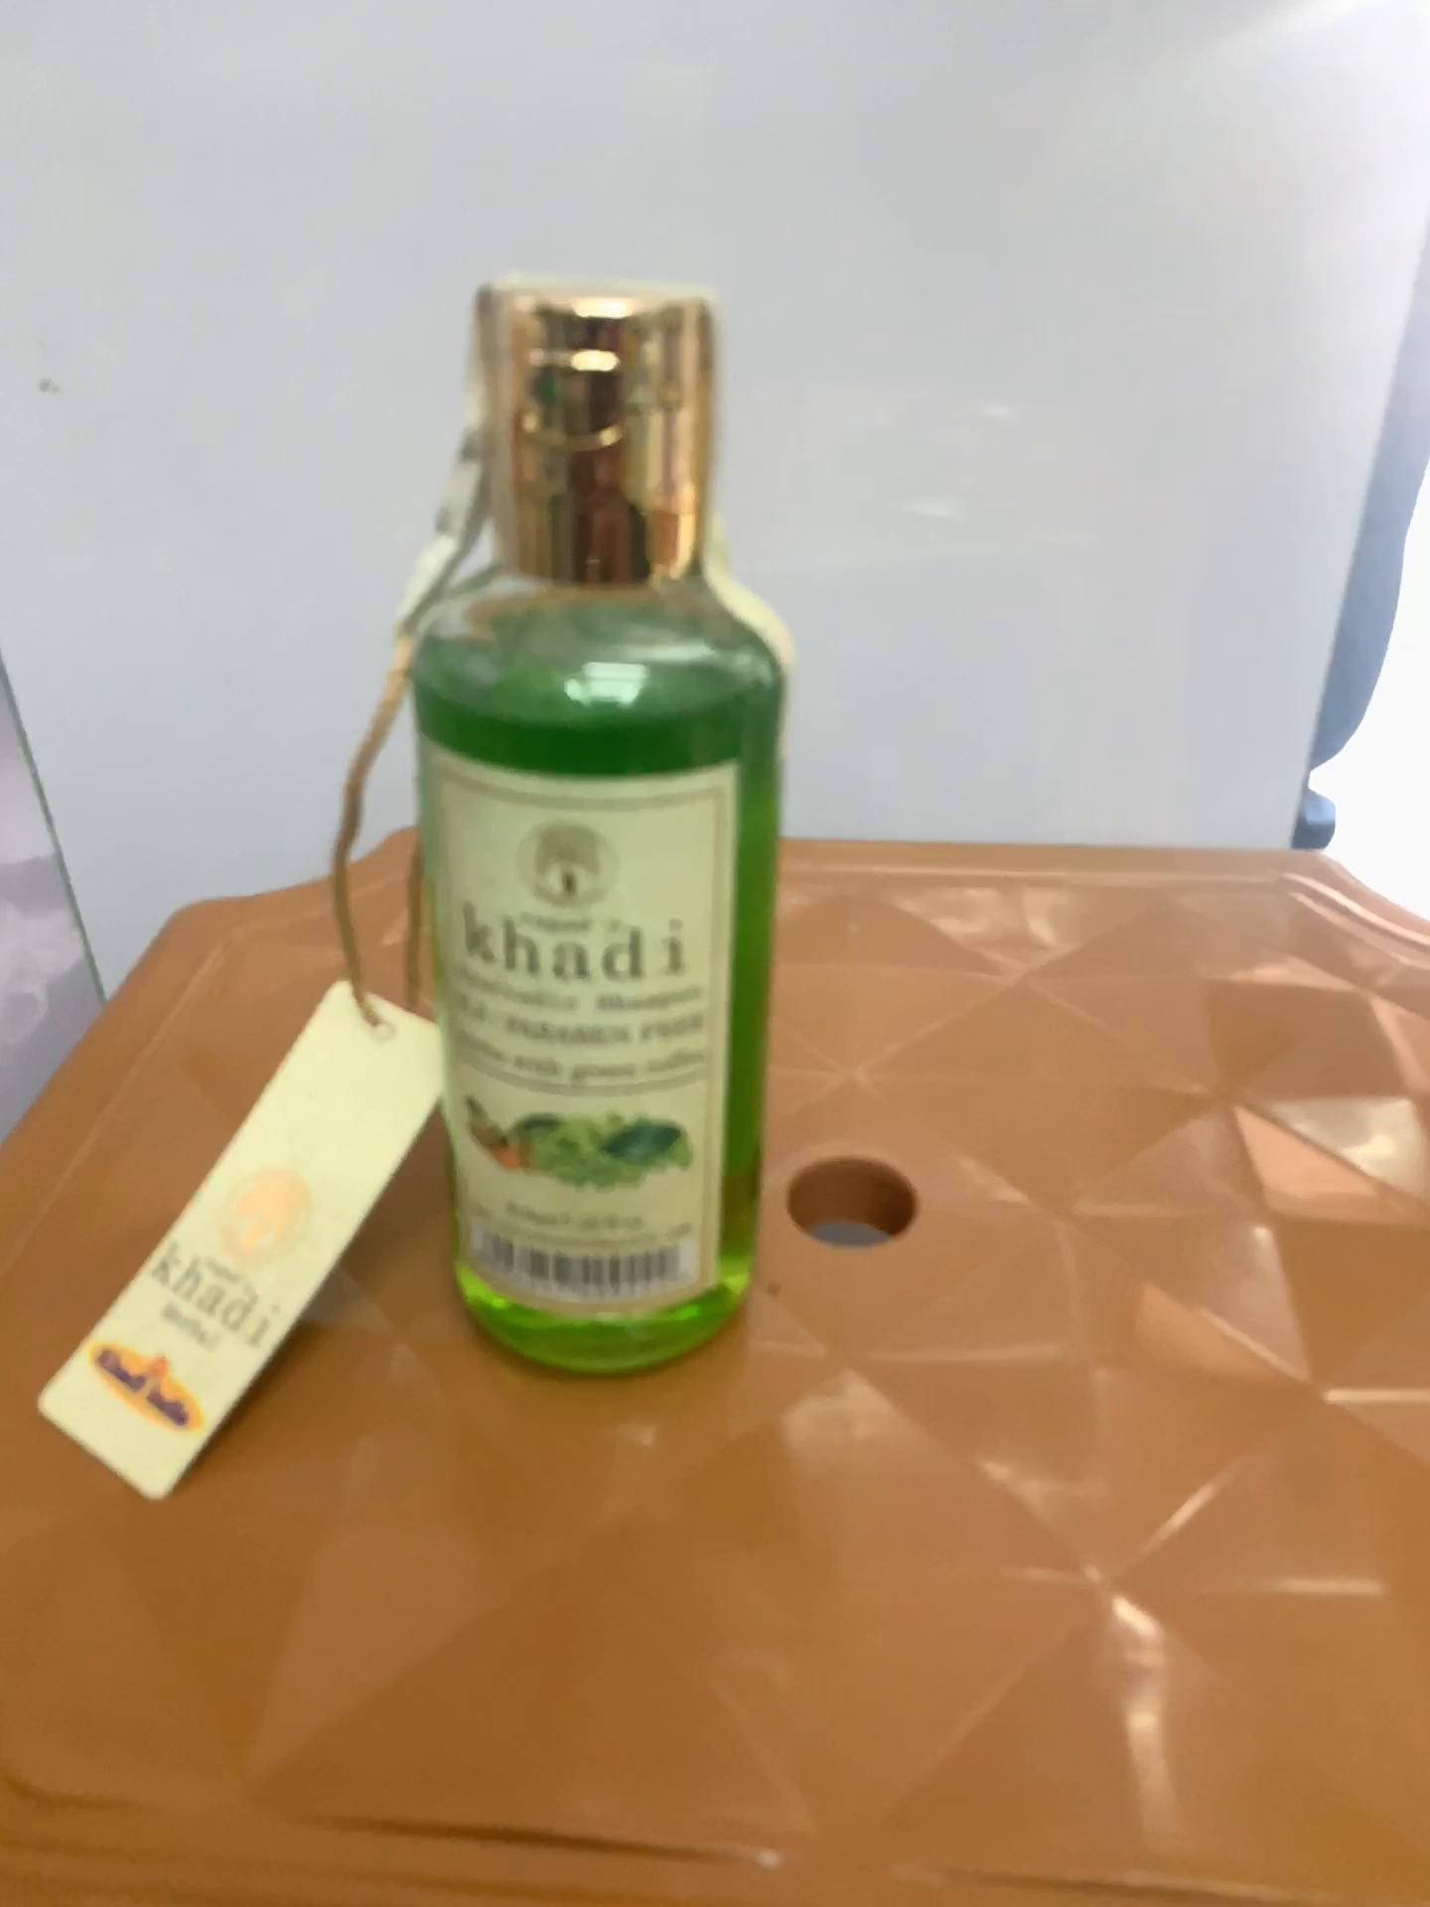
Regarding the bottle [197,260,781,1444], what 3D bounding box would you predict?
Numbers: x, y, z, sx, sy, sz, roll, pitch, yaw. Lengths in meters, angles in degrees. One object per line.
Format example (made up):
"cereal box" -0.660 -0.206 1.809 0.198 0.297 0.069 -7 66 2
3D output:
"bottle" -0.021 -0.010 0.198 0.050 0.149 0.050 0 29 0
